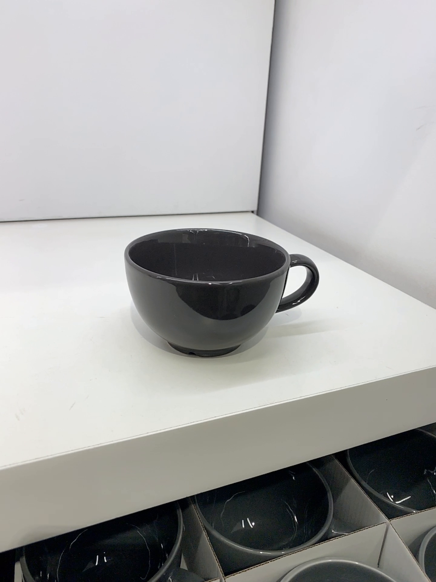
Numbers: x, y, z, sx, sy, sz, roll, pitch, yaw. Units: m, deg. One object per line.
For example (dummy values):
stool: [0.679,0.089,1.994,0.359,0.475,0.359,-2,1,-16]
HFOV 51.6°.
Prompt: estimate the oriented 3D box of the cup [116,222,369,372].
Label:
cup: [0.006,-0.006,0.295,0.130,0.050,0.110,-4,23,-17]
